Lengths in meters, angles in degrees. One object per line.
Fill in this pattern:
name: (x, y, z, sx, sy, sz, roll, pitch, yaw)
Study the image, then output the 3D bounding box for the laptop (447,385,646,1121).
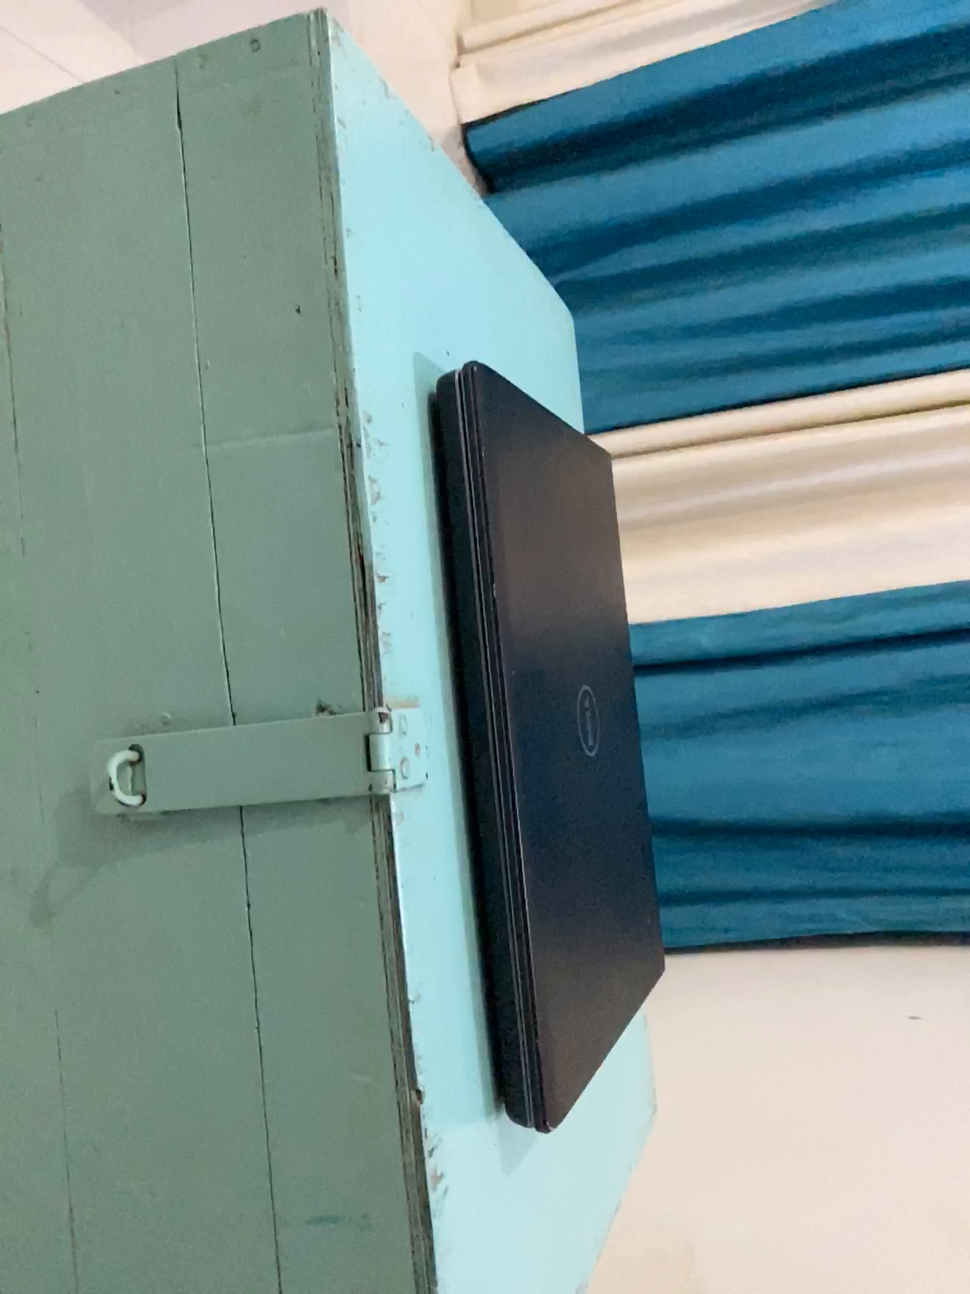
laptop: (0.051, 0.050, 0.643, 0.270, 0.004, 0.384, 2, 82, -68)
